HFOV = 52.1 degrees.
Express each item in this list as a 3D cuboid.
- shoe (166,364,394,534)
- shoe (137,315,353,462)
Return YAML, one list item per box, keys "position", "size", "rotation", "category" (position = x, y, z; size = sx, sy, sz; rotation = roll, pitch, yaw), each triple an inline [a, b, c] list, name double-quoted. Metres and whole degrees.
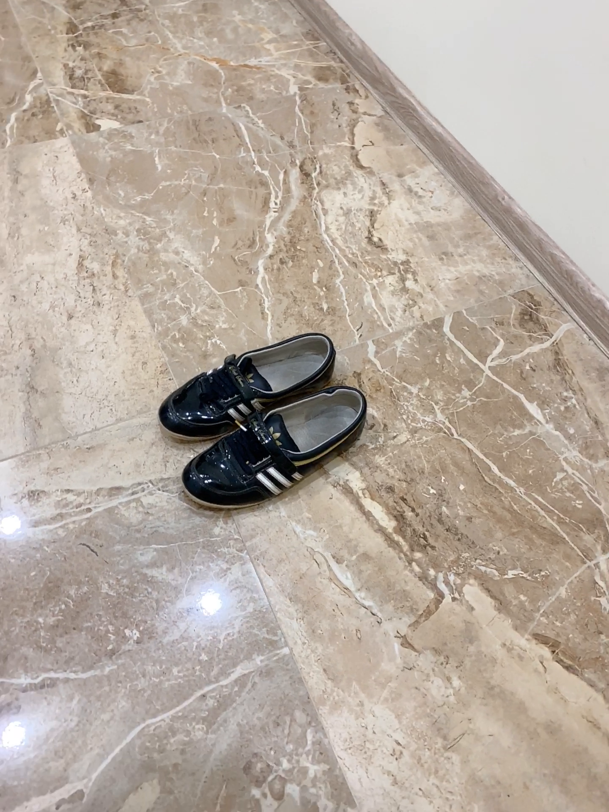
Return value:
- position: [-0.026, 0.045, 0.727]
  size: [0.240, 0.060, 0.095]
  rotation: [-23, 61, -19]
  category: "shoe"
- position: [-0.072, -0.025, 0.772]
  size: [0.240, 0.060, 0.096]
  rotation: [-20, 60, -17]
  category: "shoe"
